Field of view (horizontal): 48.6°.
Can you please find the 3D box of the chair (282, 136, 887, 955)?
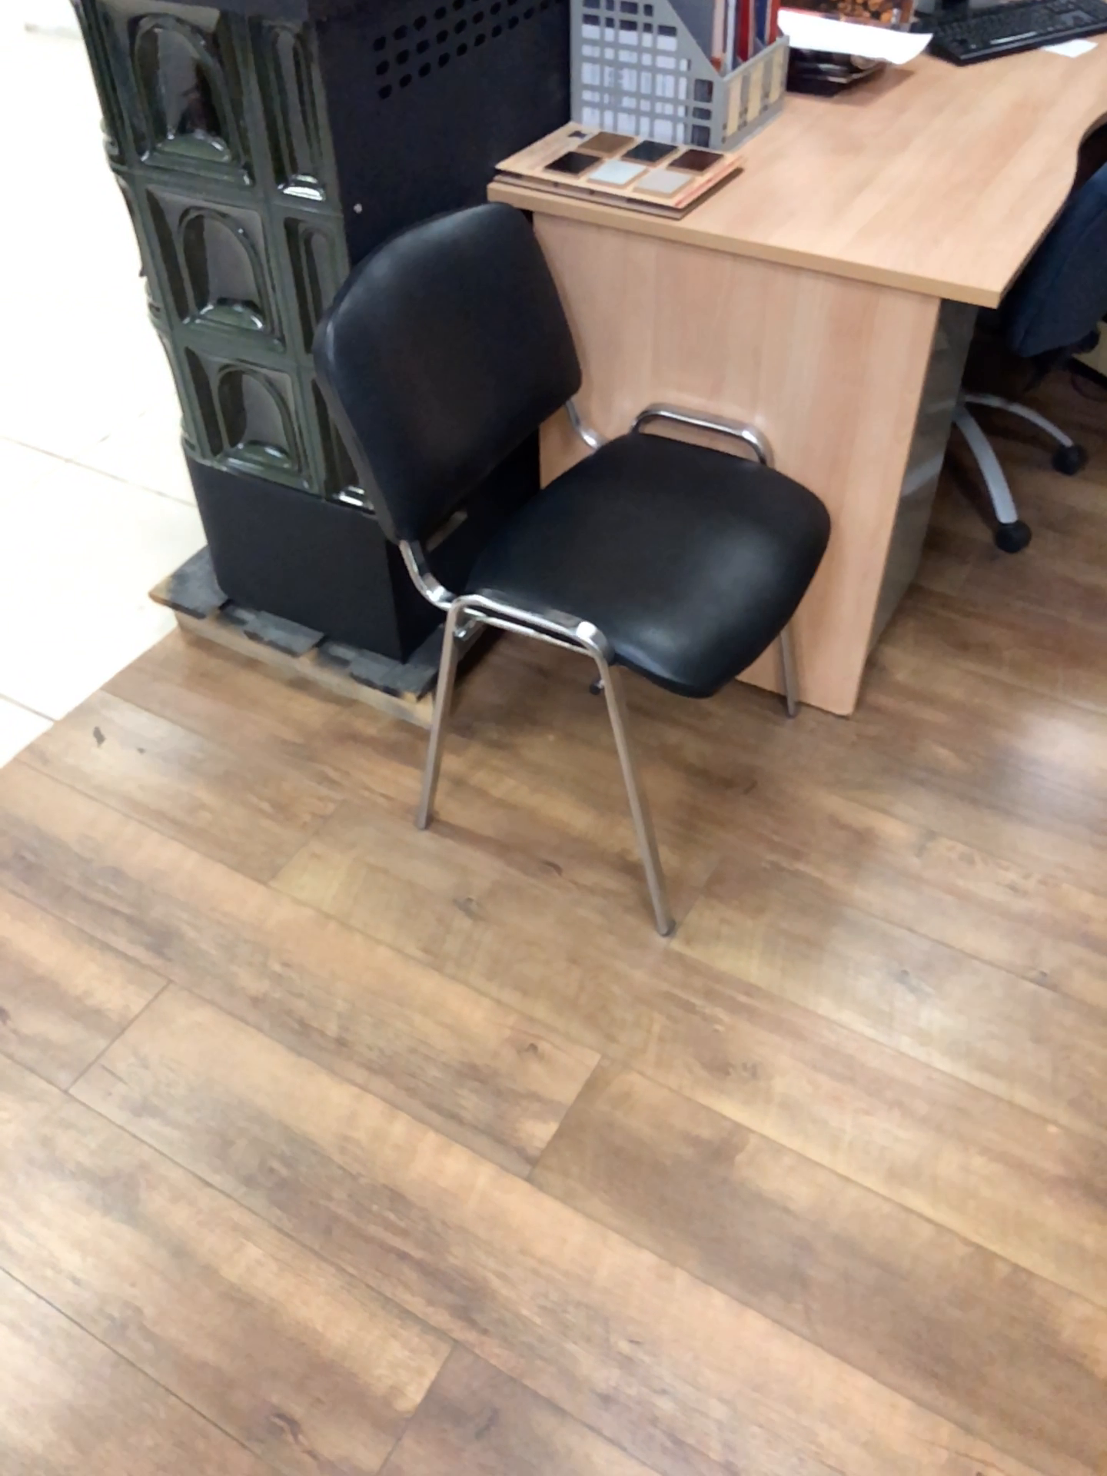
[{"bbox_3d":[0.068,-0.259,1.704,0.480,0.856,0.582,20,48,21],"label":"chair"}]
